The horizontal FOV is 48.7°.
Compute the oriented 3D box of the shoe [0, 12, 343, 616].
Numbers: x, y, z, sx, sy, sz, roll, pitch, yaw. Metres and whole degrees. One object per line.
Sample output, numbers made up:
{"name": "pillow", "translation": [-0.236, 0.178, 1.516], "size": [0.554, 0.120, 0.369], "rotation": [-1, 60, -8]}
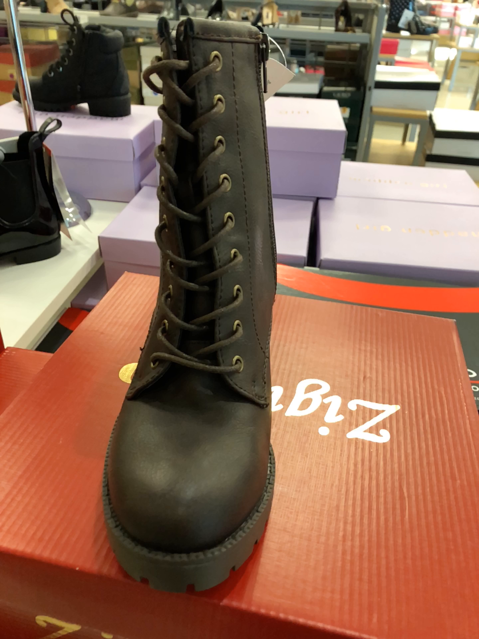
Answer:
{"name": "shoe", "translation": [-0.019, -0.029, 0.283], "size": [0.100, 0.218, 0.242], "rotation": [6, 33, 4]}
